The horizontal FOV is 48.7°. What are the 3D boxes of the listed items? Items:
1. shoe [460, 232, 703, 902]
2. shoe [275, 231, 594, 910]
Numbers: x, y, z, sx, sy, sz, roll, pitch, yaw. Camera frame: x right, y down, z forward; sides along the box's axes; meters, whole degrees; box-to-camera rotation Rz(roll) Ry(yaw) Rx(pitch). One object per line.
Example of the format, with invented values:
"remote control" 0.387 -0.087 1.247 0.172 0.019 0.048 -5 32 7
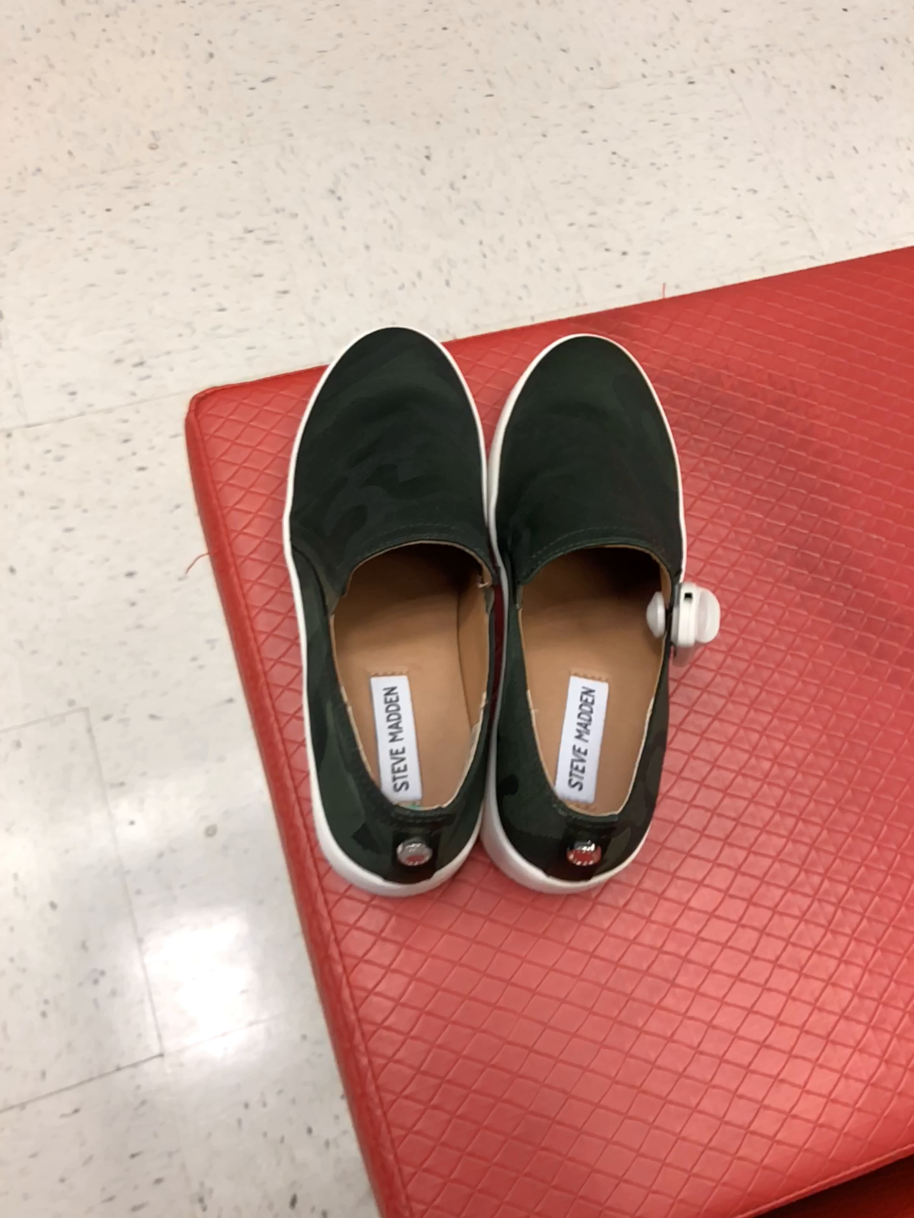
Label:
"shoe" 0.054 -0.022 0.442 0.077 0.086 0.276 6 68 -3
"shoe" -0.020 -0.022 0.432 0.105 0.086 0.276 -2 68 -7
